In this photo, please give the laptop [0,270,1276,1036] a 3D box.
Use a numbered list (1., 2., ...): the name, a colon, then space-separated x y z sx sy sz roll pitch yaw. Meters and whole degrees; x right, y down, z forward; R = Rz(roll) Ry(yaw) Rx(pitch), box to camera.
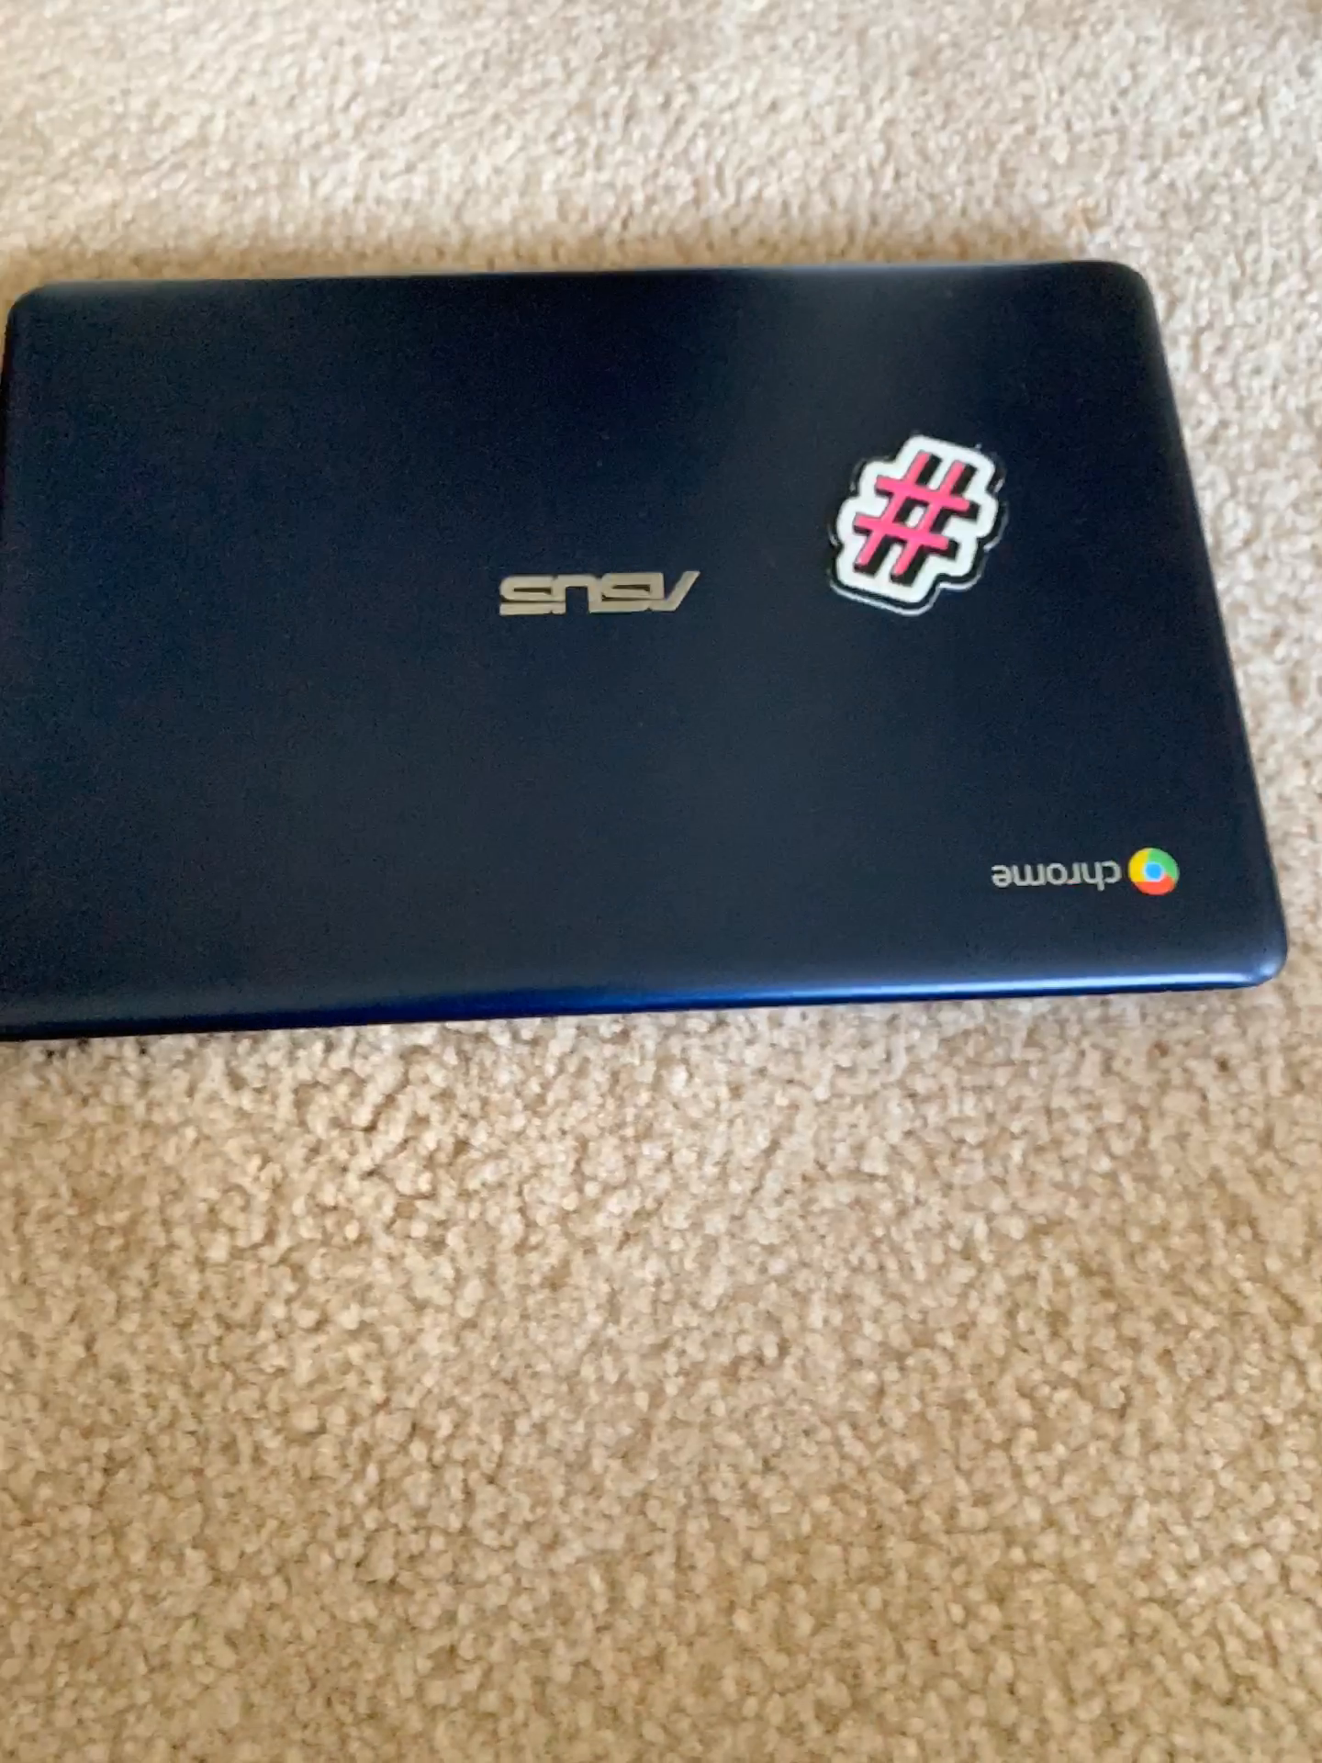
1. laptop: -0.013 -0.061 0.311 0.271 0.006 0.181 -2 71 -3
